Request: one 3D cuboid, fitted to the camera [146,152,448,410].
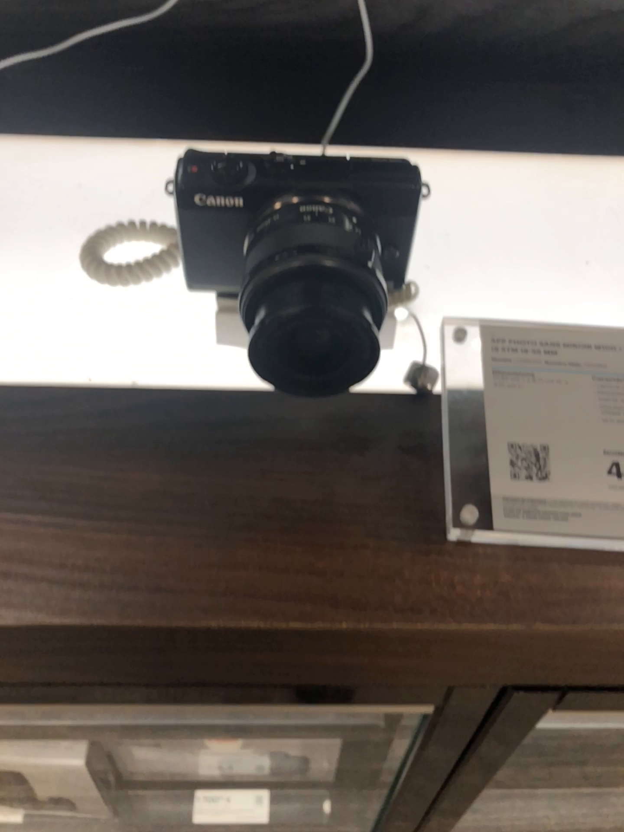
[{"bbox_3d":[-0.007,-0.062,0.317,0.112,0.071,0.094,1,46,-2],"label":"camera"}]
